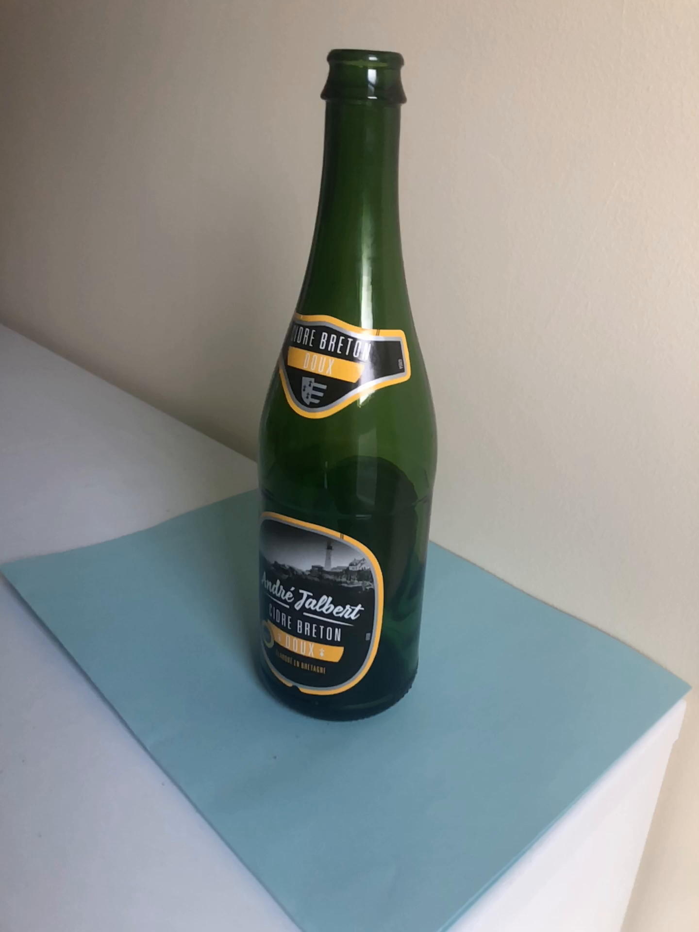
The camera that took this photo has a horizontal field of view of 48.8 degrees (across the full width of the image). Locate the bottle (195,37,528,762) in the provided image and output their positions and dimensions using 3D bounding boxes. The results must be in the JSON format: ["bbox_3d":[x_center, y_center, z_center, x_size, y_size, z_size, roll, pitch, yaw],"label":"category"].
[{"bbox_3d":[0.001,-0.022,0.331,0.090,0.278,0.080,16,28,27],"label":"bottle"}]
